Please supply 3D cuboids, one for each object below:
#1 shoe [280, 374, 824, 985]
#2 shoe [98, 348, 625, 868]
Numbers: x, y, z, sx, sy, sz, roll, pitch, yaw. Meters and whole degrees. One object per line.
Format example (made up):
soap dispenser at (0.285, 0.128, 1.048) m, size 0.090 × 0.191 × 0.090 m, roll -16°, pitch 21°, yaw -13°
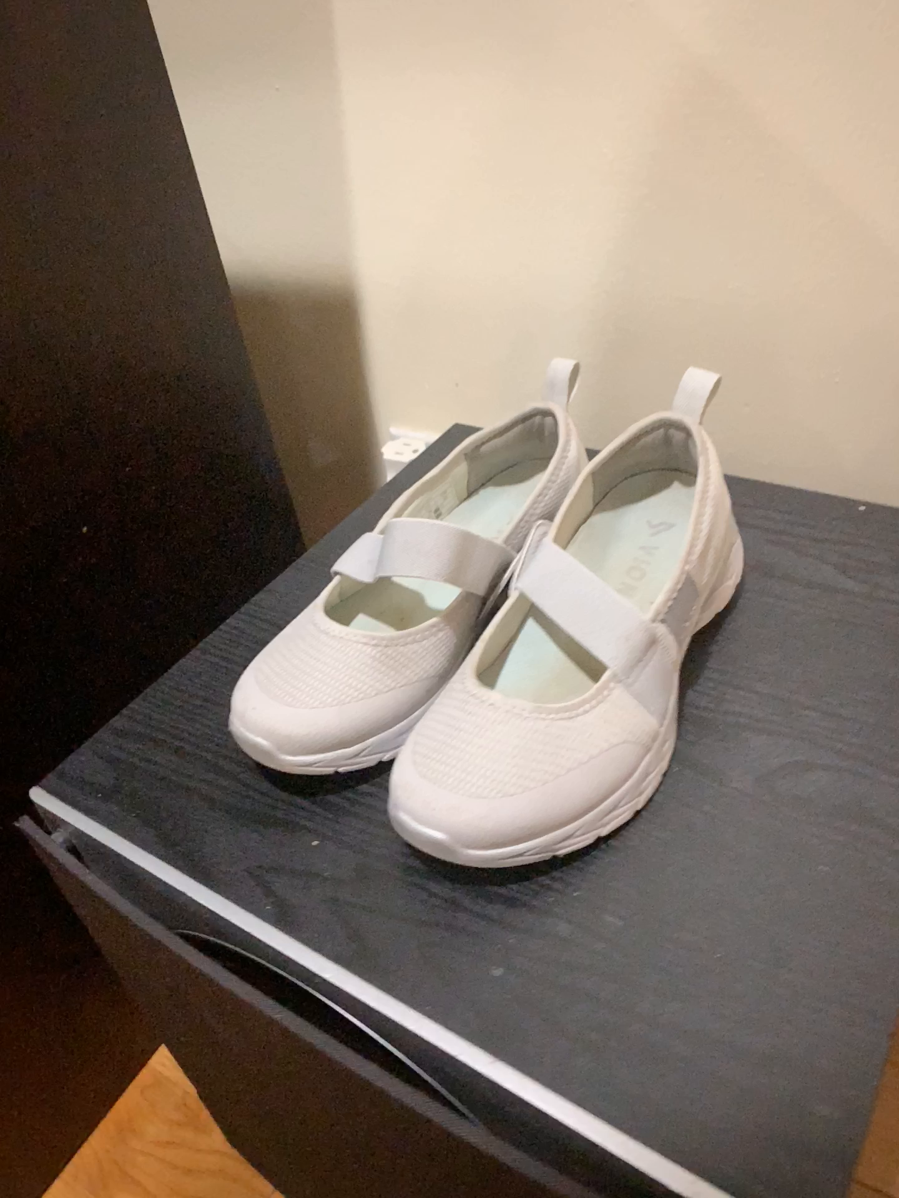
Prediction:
shoe at (0.060, 0.010, 0.390) m, size 0.102 × 0.093 × 0.250 m, roll 18°, pitch 46°, yaw 30°
shoe at (-0.020, -0.016, 0.439) m, size 0.102 × 0.093 × 0.250 m, roll 18°, pitch 46°, yaw 30°
